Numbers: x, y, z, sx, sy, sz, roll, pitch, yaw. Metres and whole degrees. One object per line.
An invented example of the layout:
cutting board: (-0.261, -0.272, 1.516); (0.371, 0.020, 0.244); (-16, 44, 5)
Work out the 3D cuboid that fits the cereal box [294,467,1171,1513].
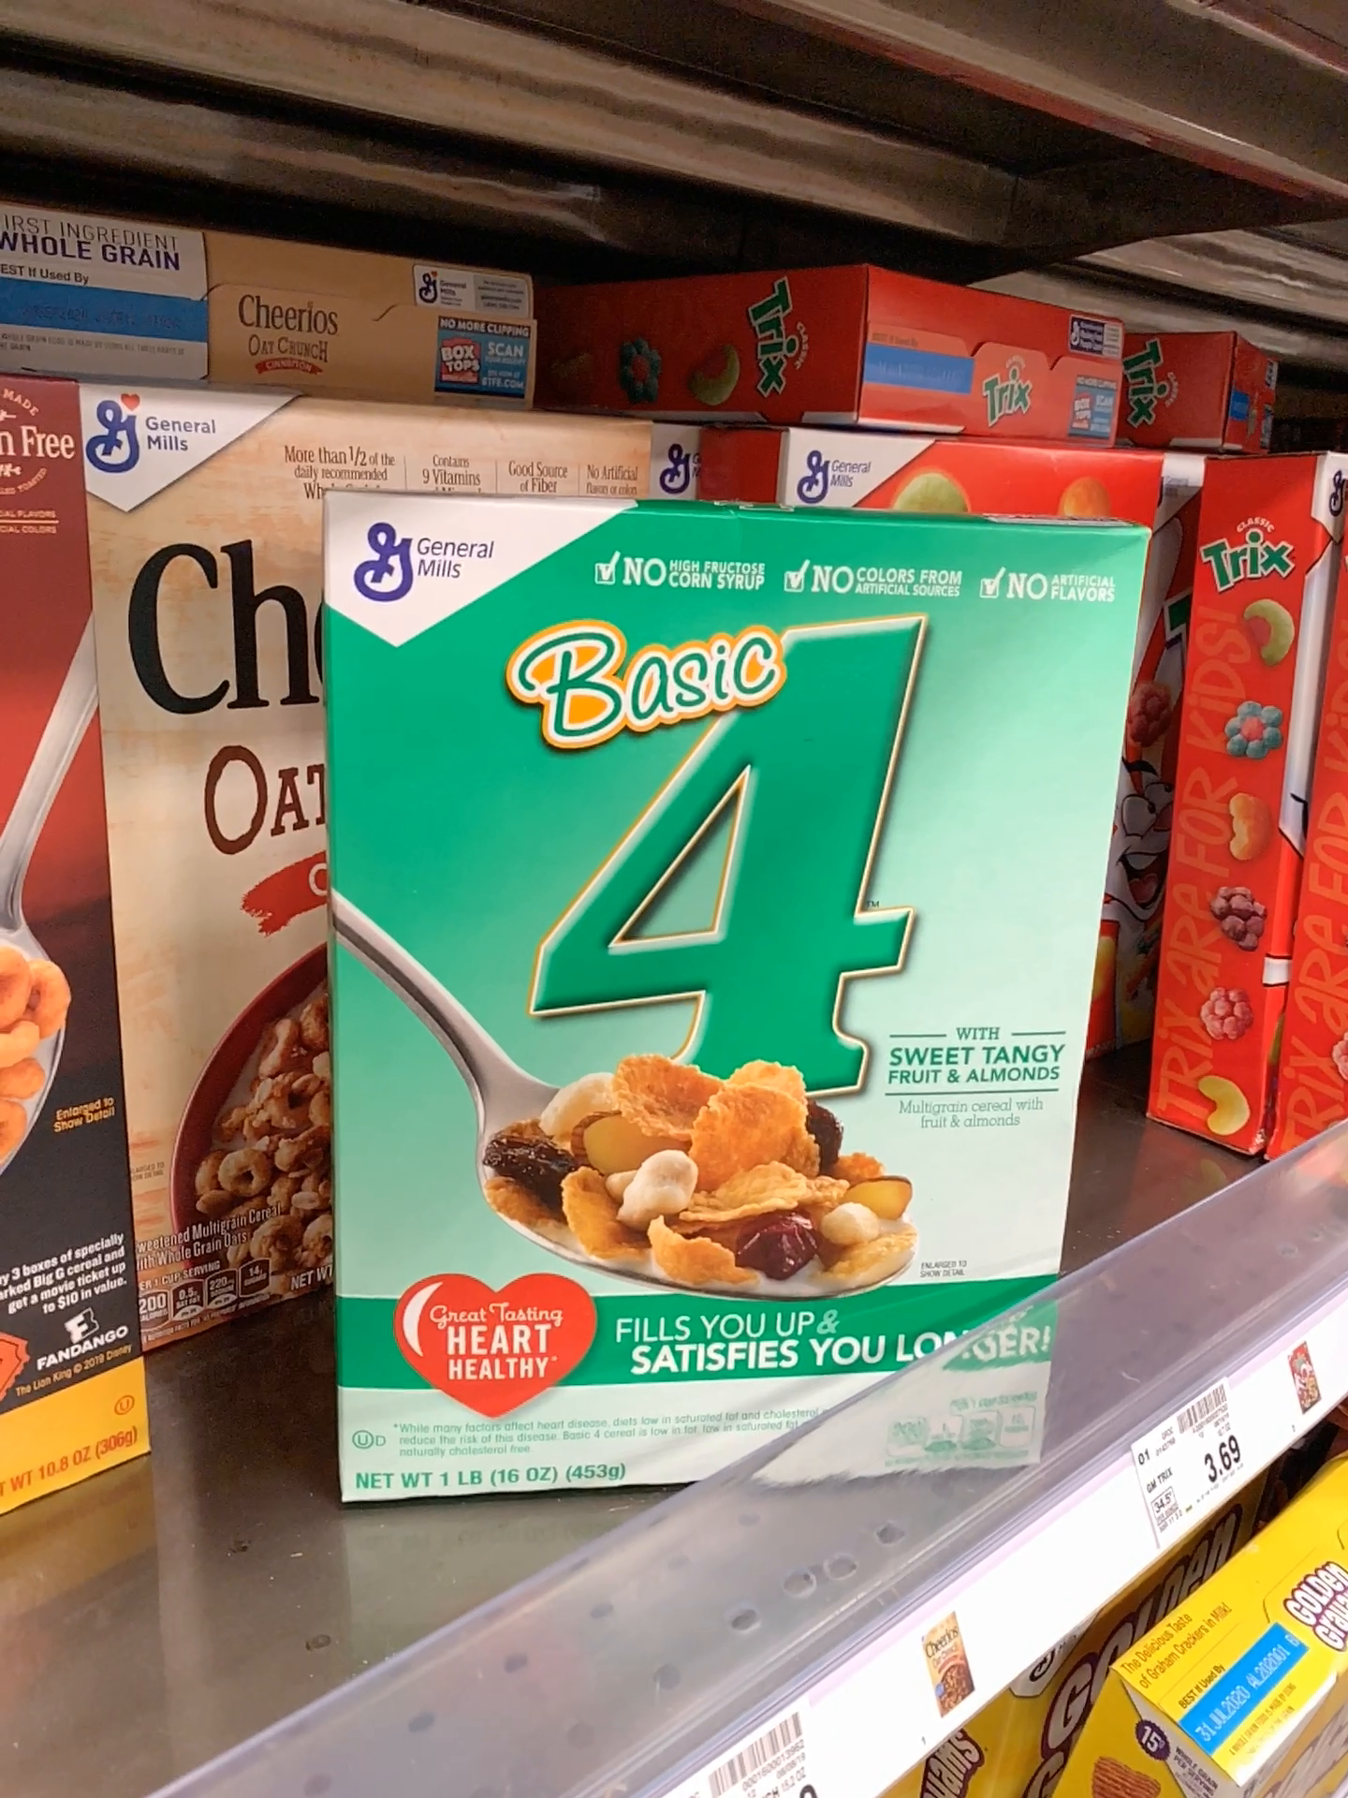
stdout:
cereal box: (0.009, 0.027, 0.367); (0.200, 0.259, 0.050); (0, 14, -9)
